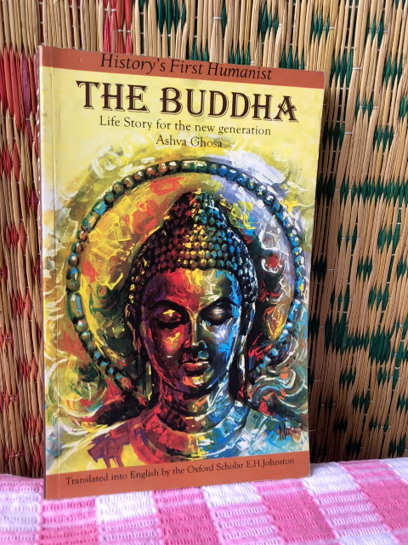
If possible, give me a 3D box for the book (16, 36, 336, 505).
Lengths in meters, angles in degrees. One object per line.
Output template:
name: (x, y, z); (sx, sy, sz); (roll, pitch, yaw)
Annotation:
book: (-0.013, 0.002, 0.229); (0.146, 0.206, 0.030); (0, 4, -11)
